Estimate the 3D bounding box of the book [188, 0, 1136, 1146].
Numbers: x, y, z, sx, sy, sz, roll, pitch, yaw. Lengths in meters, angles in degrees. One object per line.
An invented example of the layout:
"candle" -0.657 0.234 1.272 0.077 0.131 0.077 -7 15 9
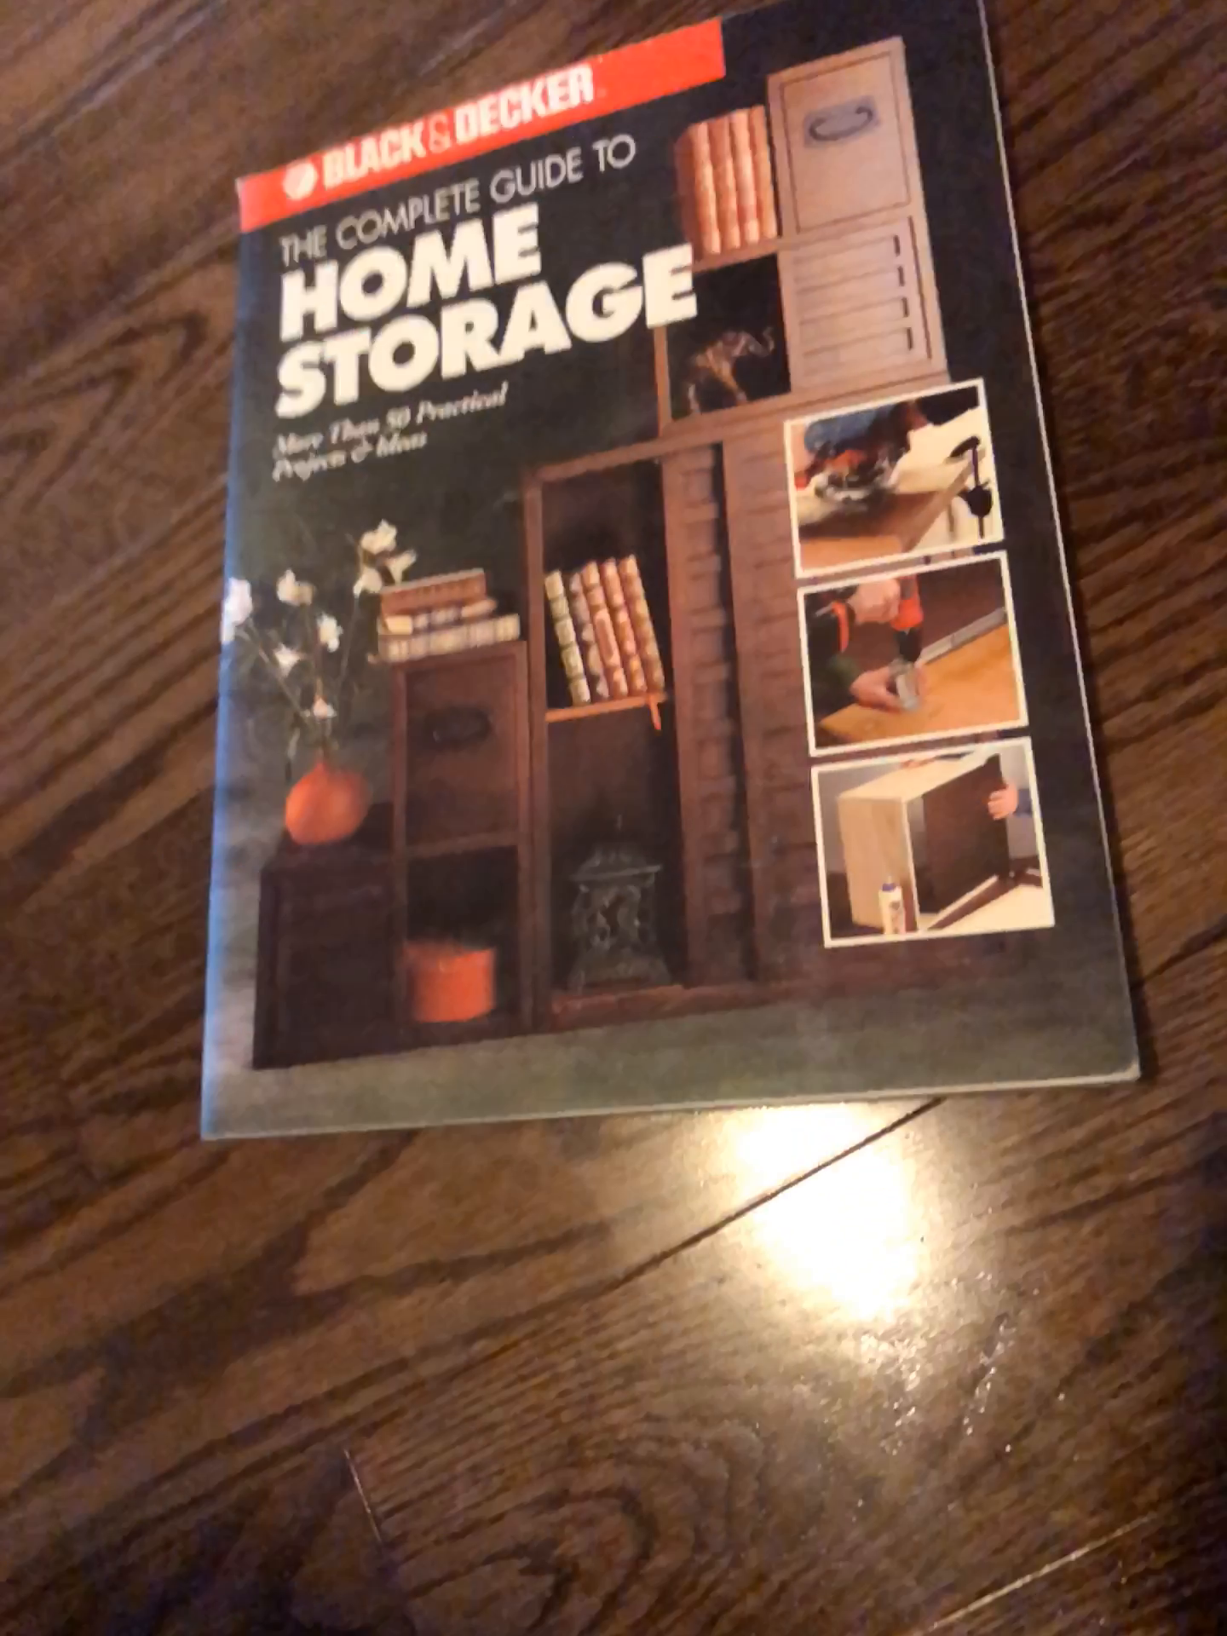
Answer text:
"book" -0.004 -0.071 0.346 0.215 0.020 0.287 -8 73 18
